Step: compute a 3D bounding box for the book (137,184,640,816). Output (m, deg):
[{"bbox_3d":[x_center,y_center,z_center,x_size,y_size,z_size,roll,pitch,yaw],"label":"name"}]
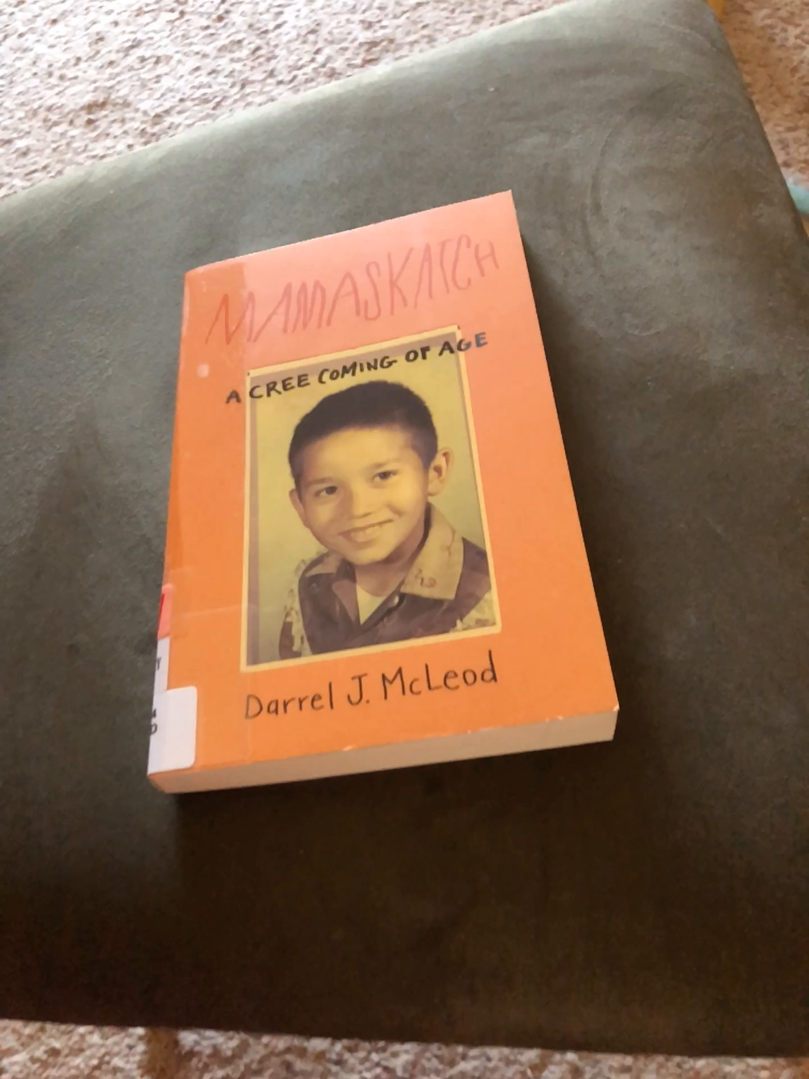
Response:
[{"bbox_3d":[-0.012,-0.023,0.329,0.150,0.040,0.218,-11,60,10],"label":"book"}]
